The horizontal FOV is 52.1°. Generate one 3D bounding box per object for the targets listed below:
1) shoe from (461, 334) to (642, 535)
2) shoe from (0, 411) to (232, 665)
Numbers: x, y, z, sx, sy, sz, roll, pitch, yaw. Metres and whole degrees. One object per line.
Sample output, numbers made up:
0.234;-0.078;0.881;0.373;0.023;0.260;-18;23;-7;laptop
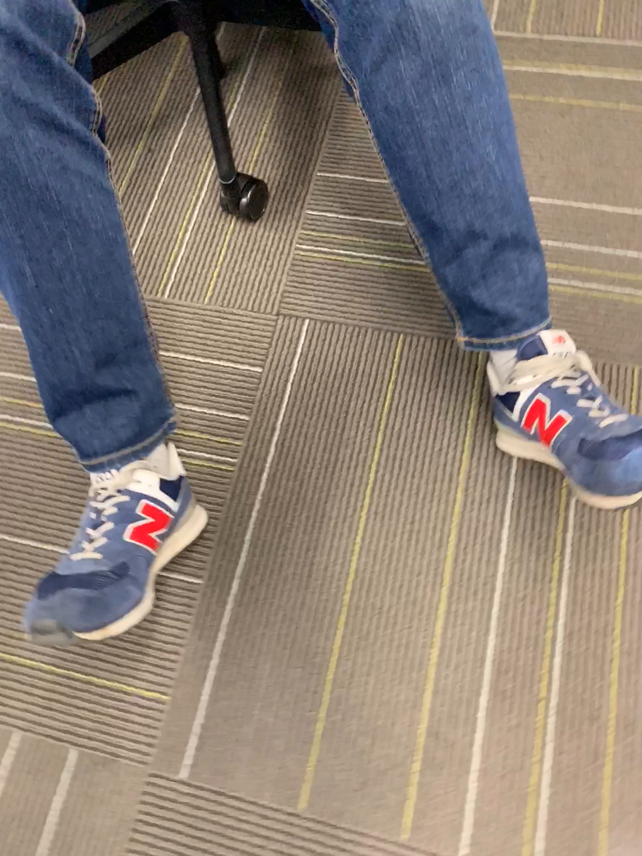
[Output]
0.274;-0.013;0.695;0.114;0.303;0.096;-24;109;-4;shoe
-0.219;0.104;0.733;0.120;0.297;0.135;-11;108;14;shoe
